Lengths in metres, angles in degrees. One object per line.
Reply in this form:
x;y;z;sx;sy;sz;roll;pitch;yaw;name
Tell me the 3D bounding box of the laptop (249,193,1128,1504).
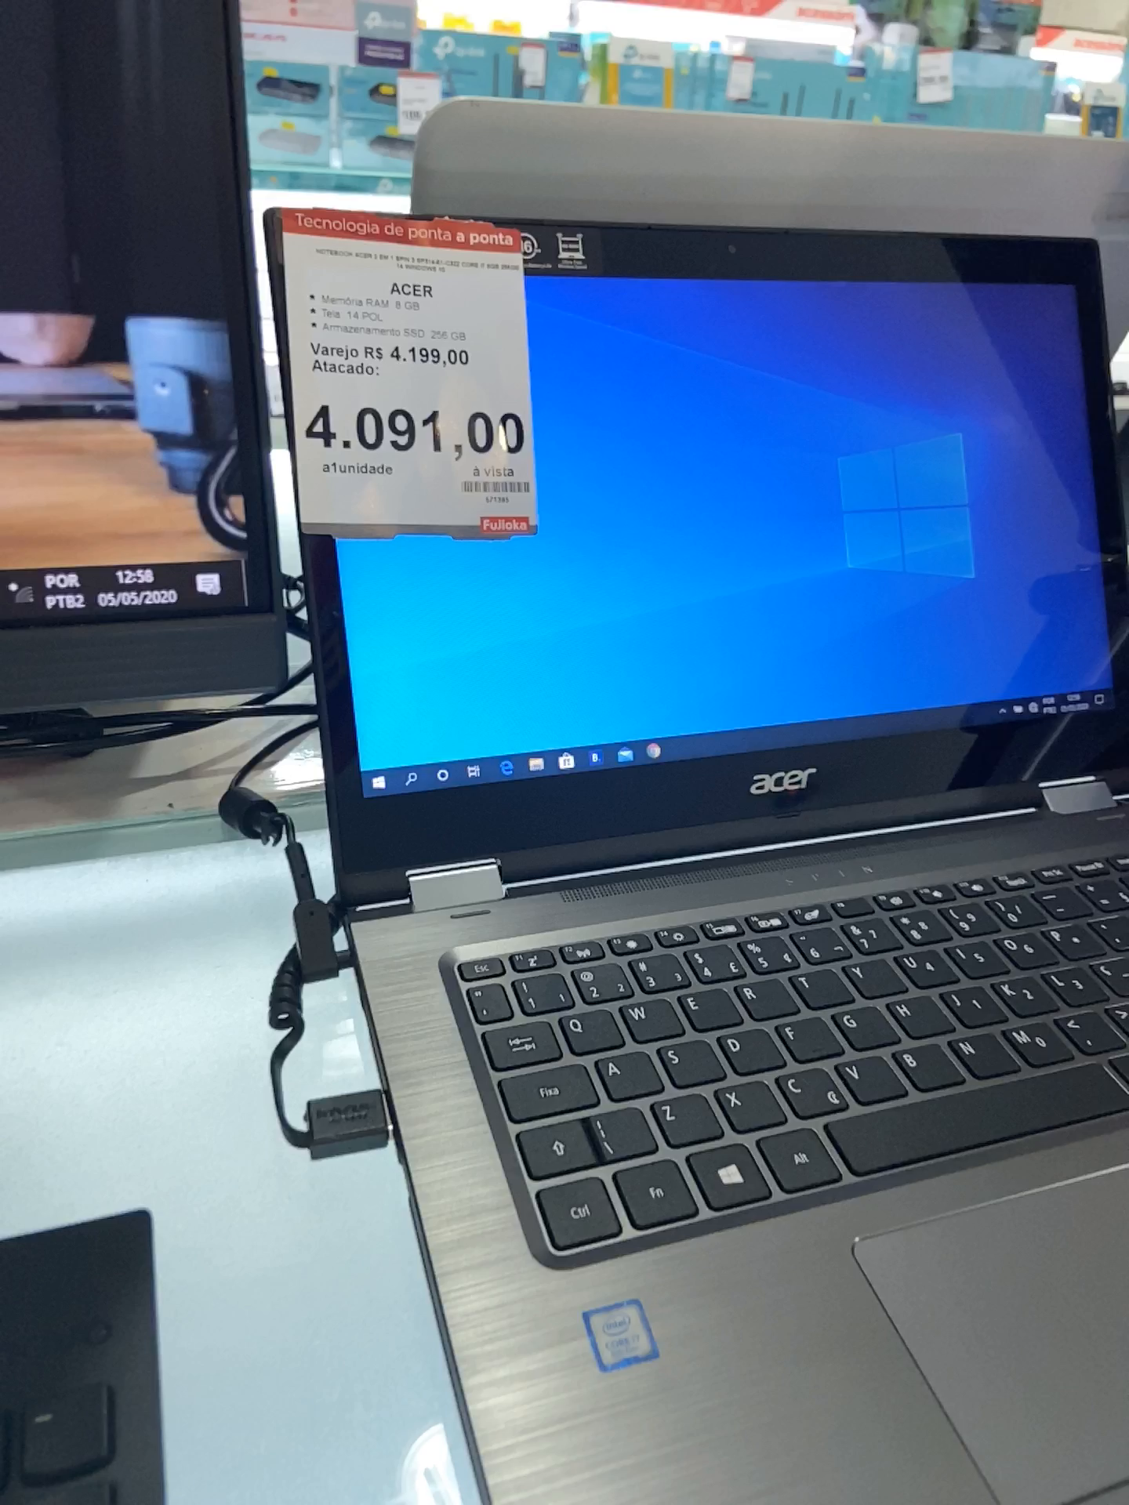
0.103;-0.025;0.332;0.328;0.187;0.357;-6;33;-18;laptop
